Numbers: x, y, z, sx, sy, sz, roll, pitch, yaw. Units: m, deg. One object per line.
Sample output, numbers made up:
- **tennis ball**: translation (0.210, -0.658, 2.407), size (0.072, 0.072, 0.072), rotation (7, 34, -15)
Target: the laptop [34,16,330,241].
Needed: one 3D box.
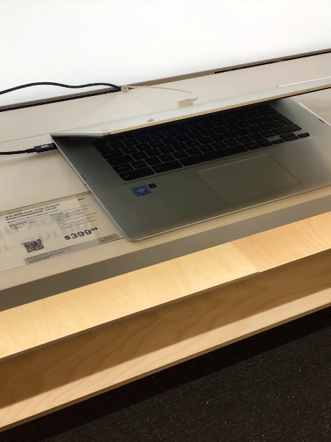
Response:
- **laptop**: translation (0.079, -0.140, 0.579), size (0.394, 0.133, 0.227), rotation (-18, 53, -18)
